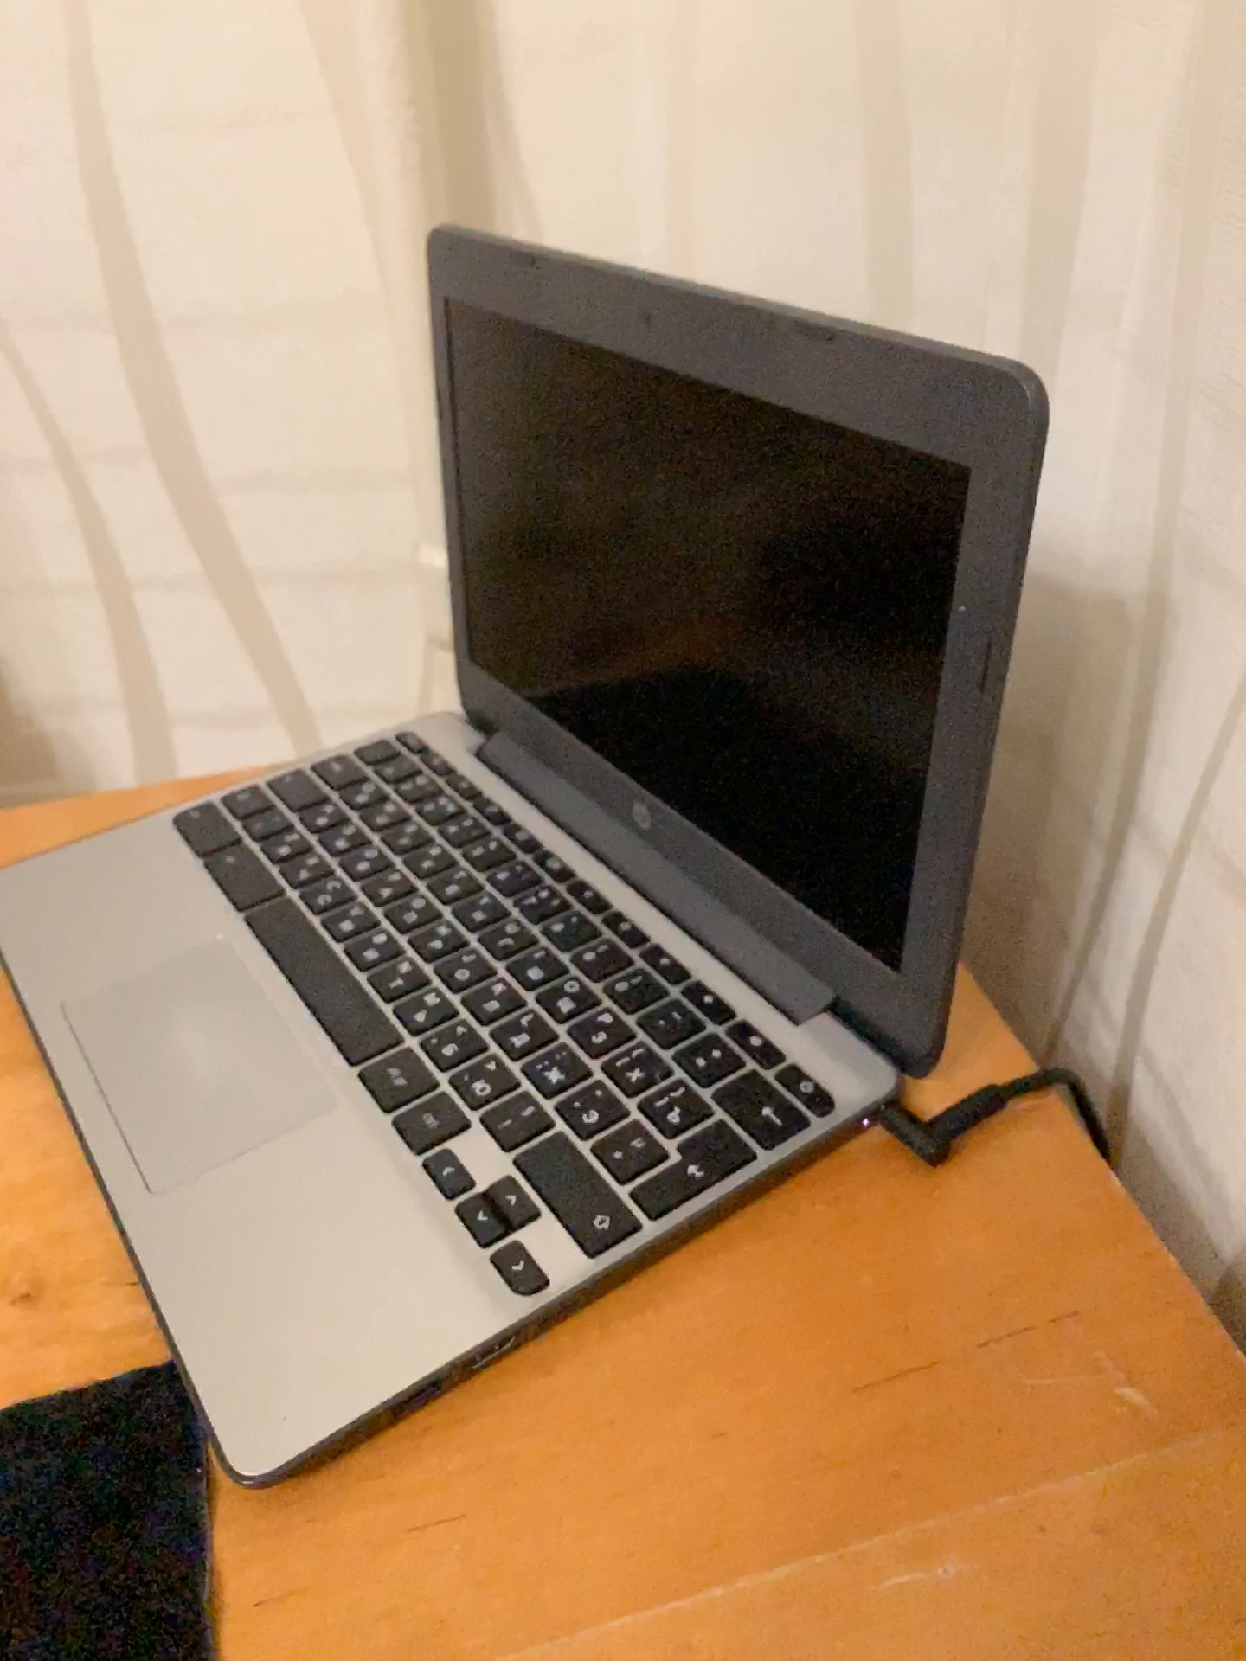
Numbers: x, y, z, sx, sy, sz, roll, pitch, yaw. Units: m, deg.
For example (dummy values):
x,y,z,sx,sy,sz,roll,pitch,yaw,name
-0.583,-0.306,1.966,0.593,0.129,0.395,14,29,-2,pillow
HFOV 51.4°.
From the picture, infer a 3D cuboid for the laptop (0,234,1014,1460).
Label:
x,y,z,sx,sy,sz,roll,pitch,yaw,name
-0.077,-0.037,0.369,0.206,0.187,0.272,-23,38,-26,laptop
